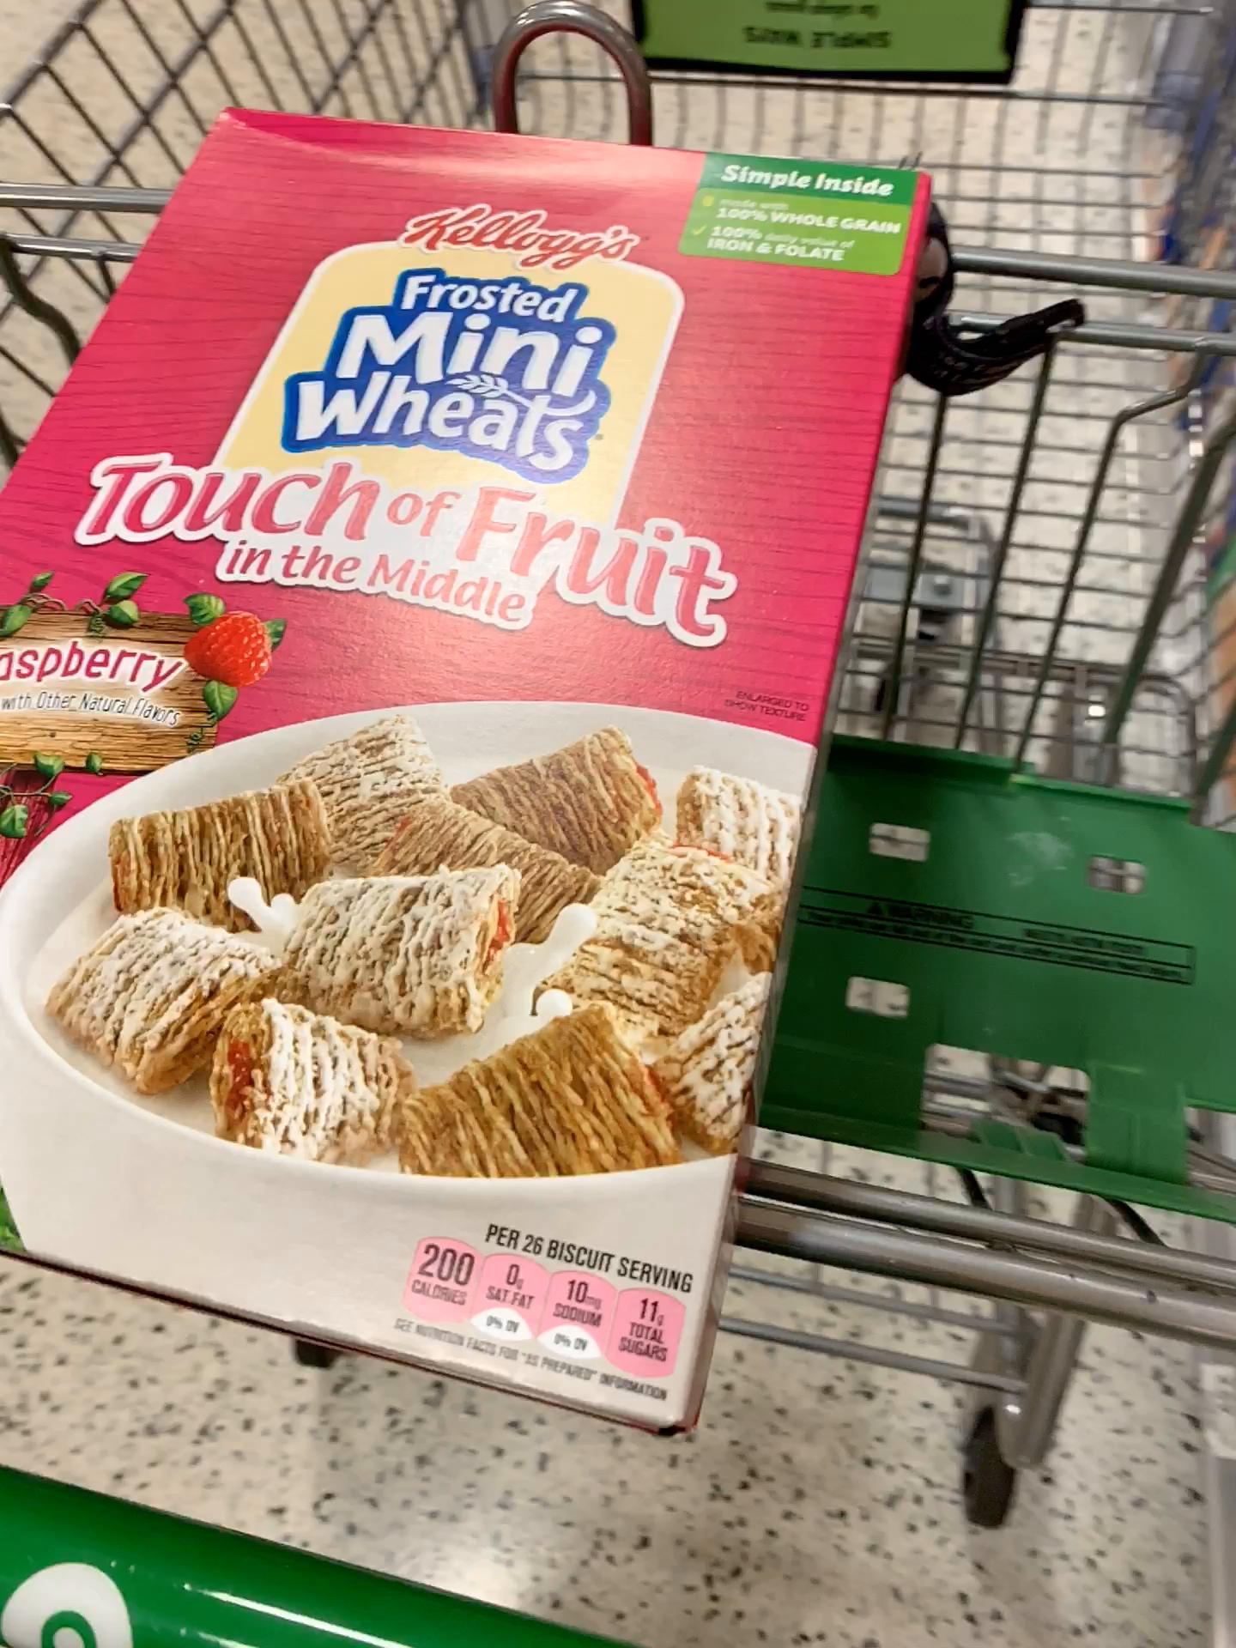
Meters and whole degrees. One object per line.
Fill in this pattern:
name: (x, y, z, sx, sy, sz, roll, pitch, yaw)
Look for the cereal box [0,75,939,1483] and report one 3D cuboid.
cereal box: (-0.053, -0.041, 0.284, 0.200, 0.050, 0.292, 10, 65, 10)
